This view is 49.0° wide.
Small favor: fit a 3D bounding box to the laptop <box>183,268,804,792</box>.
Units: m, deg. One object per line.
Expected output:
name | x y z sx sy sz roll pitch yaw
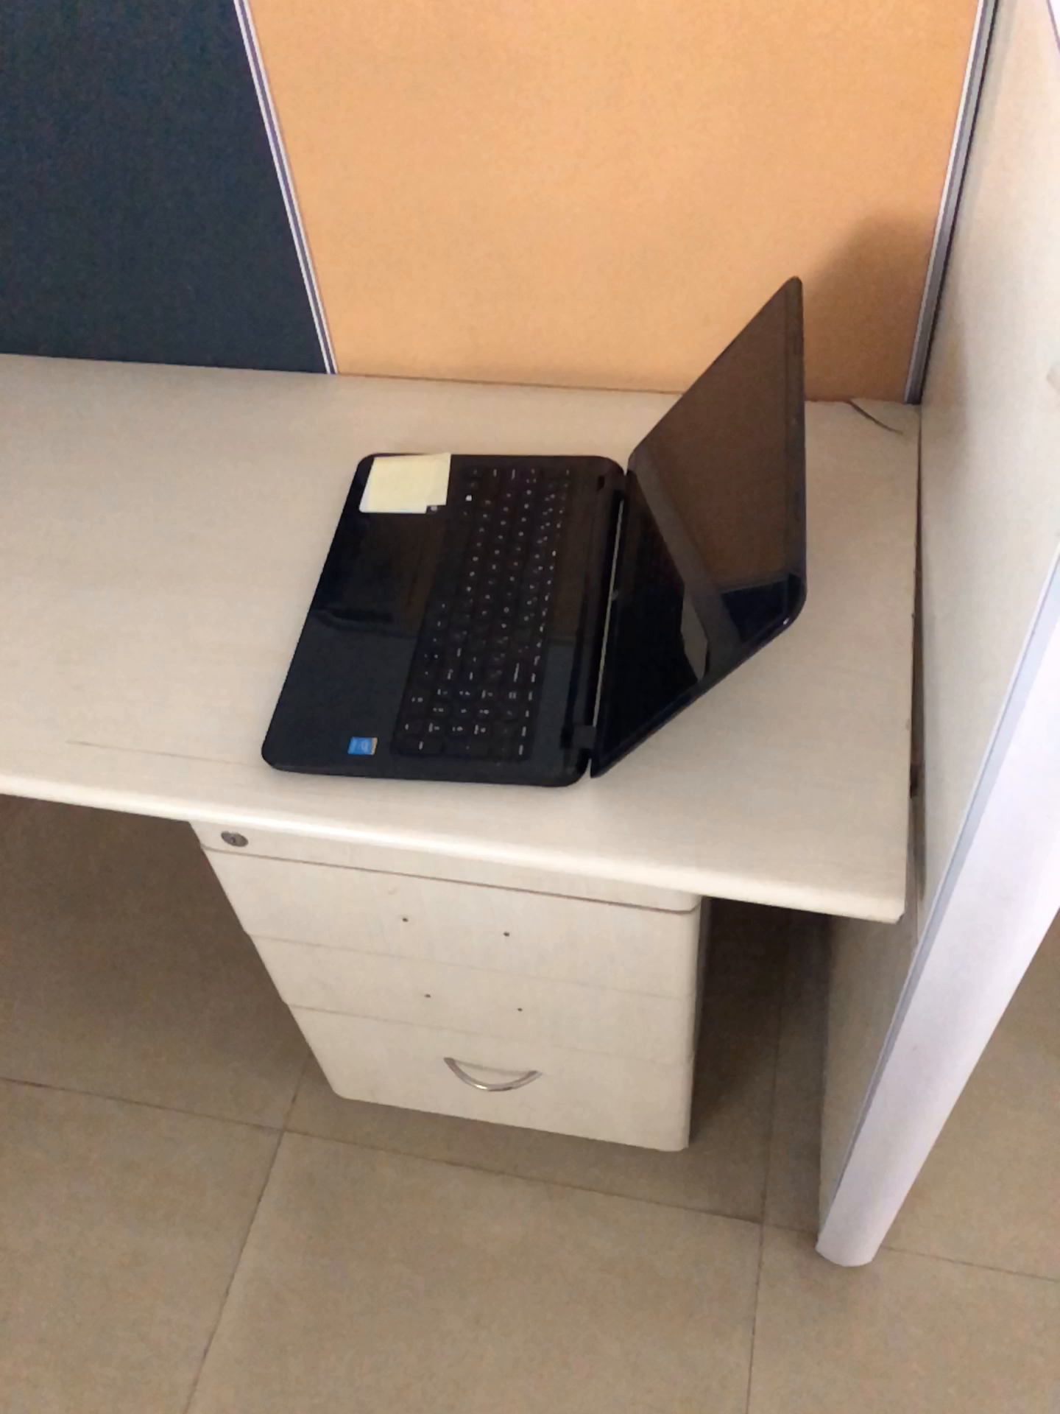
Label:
laptop | 0.004 -0.164 0.965 0.415 0.204 0.393 3 51 8
